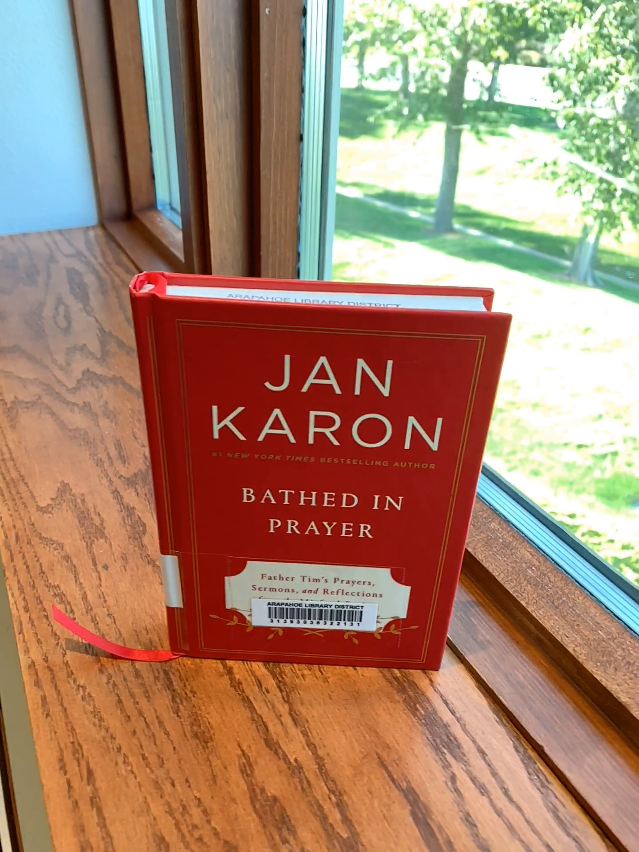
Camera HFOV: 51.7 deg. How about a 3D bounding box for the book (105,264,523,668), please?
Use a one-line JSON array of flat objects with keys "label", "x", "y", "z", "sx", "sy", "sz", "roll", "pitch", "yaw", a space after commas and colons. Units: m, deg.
[{"label": "book", "x": -0.004, "y": 0.025, "z": 0.267, "sx": 0.135, "sy": 0.169, "sz": 0.028, "roll": 3, "pitch": 30, "yaw": 1}]
